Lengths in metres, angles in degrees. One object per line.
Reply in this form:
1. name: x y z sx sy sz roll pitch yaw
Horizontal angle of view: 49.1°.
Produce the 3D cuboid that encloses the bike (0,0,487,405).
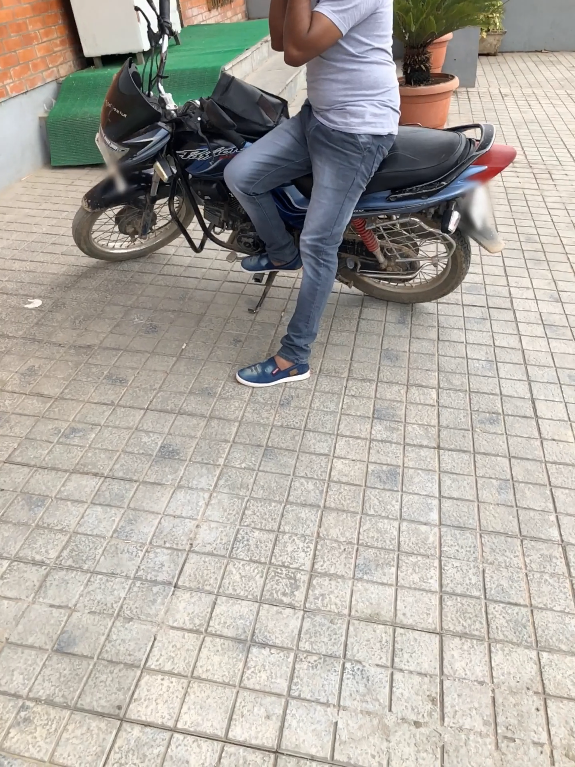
1. bike: -0.252 -0.801 2.407 1.819 1.345 0.817 5 36 11
